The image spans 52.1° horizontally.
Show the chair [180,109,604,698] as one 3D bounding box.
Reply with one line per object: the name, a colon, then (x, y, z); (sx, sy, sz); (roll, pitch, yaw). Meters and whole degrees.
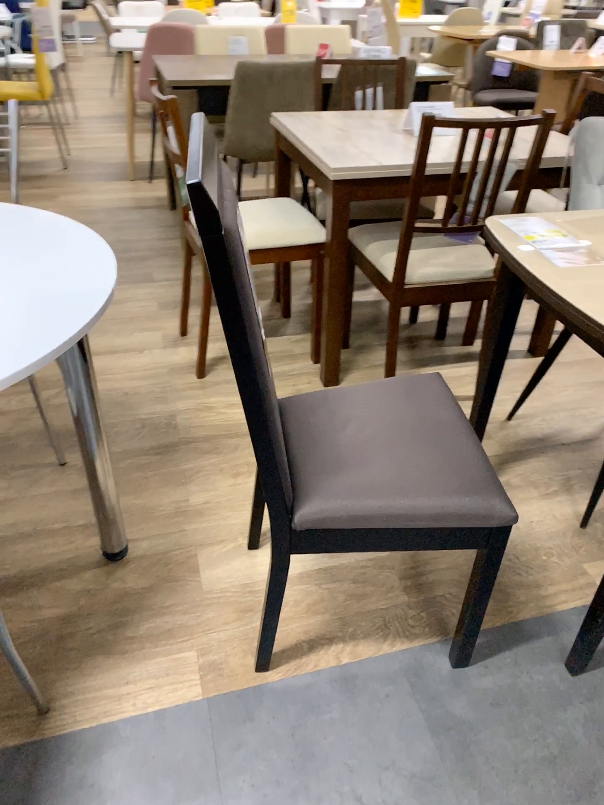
chair: (0.086, 0.043, 1.145); (0.500, 0.994, 0.442); (-3, 36, -6)
